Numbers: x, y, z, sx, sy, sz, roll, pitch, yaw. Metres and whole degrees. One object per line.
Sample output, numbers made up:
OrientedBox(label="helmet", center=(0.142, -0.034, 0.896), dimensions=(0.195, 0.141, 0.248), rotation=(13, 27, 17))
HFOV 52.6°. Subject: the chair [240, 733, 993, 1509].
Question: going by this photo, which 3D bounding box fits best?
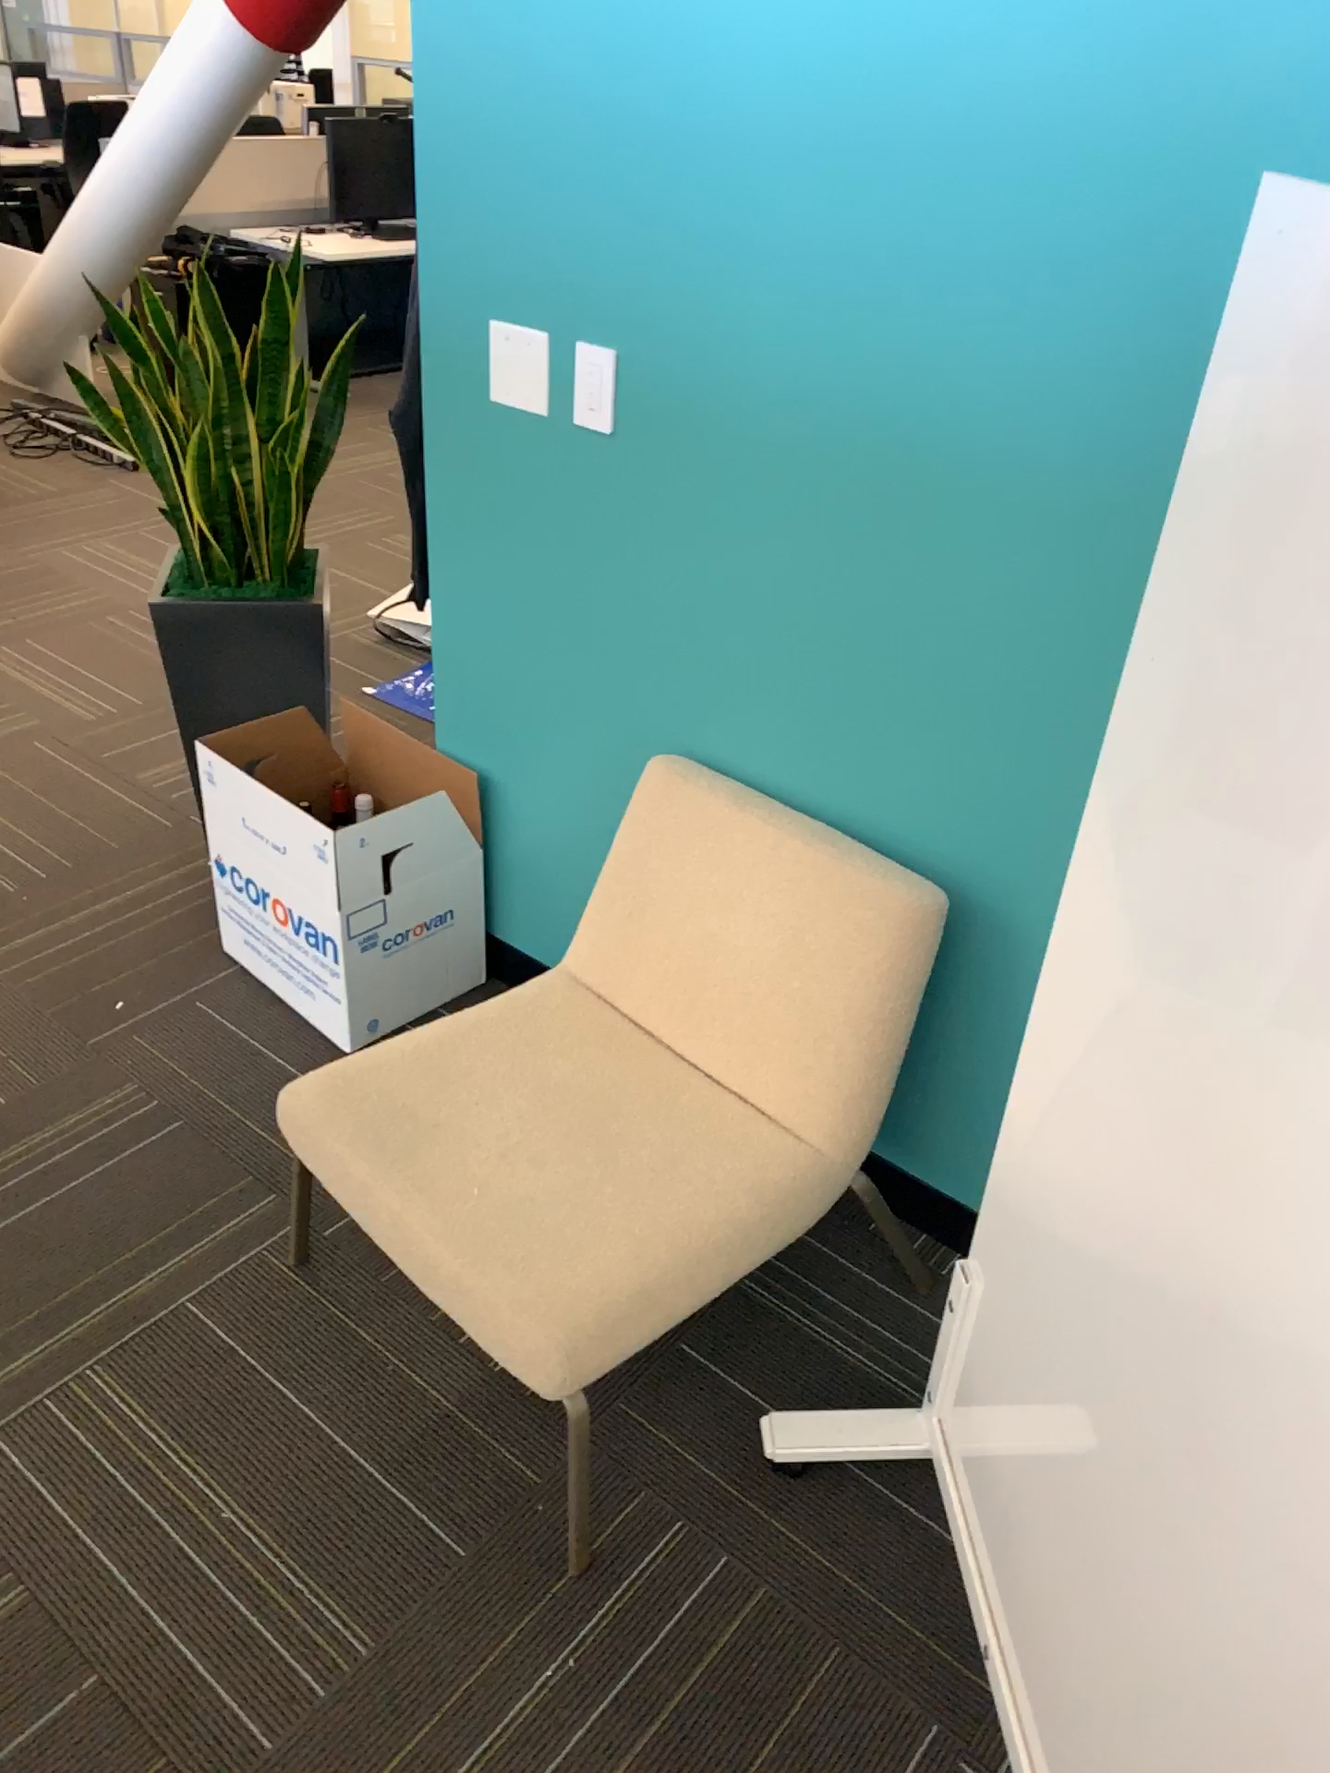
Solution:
OrientedBox(label="chair", center=(-0.070, 0.255, 1.907), dimensions=(0.662, 0.567, 0.732), rotation=(30, 40, 35))
